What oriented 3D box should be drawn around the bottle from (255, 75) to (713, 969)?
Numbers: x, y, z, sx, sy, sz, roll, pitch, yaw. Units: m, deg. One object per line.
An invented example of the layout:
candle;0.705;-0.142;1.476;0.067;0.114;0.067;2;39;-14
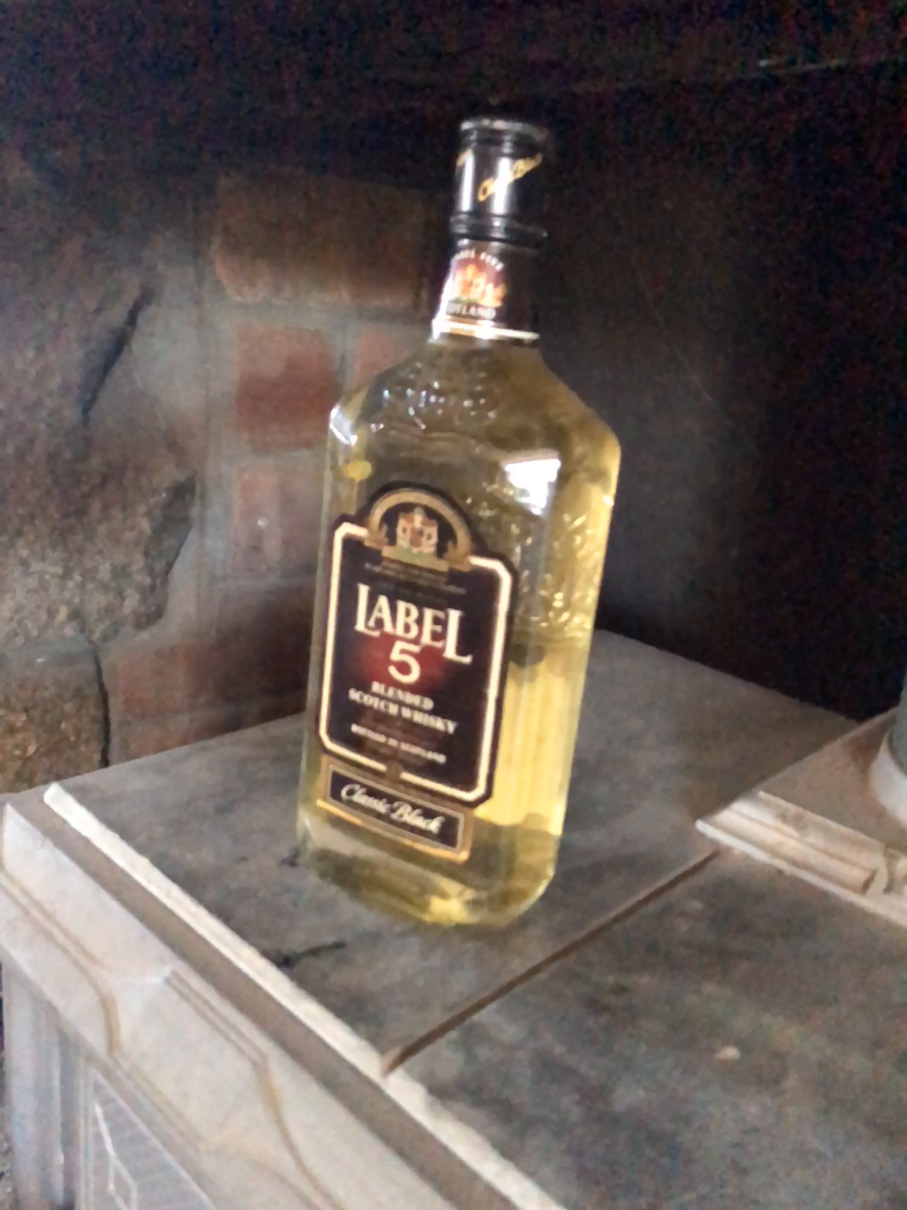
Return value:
bottle;0.002;-0.026;0.324;0.110;0.249;0.060;15;18;30
